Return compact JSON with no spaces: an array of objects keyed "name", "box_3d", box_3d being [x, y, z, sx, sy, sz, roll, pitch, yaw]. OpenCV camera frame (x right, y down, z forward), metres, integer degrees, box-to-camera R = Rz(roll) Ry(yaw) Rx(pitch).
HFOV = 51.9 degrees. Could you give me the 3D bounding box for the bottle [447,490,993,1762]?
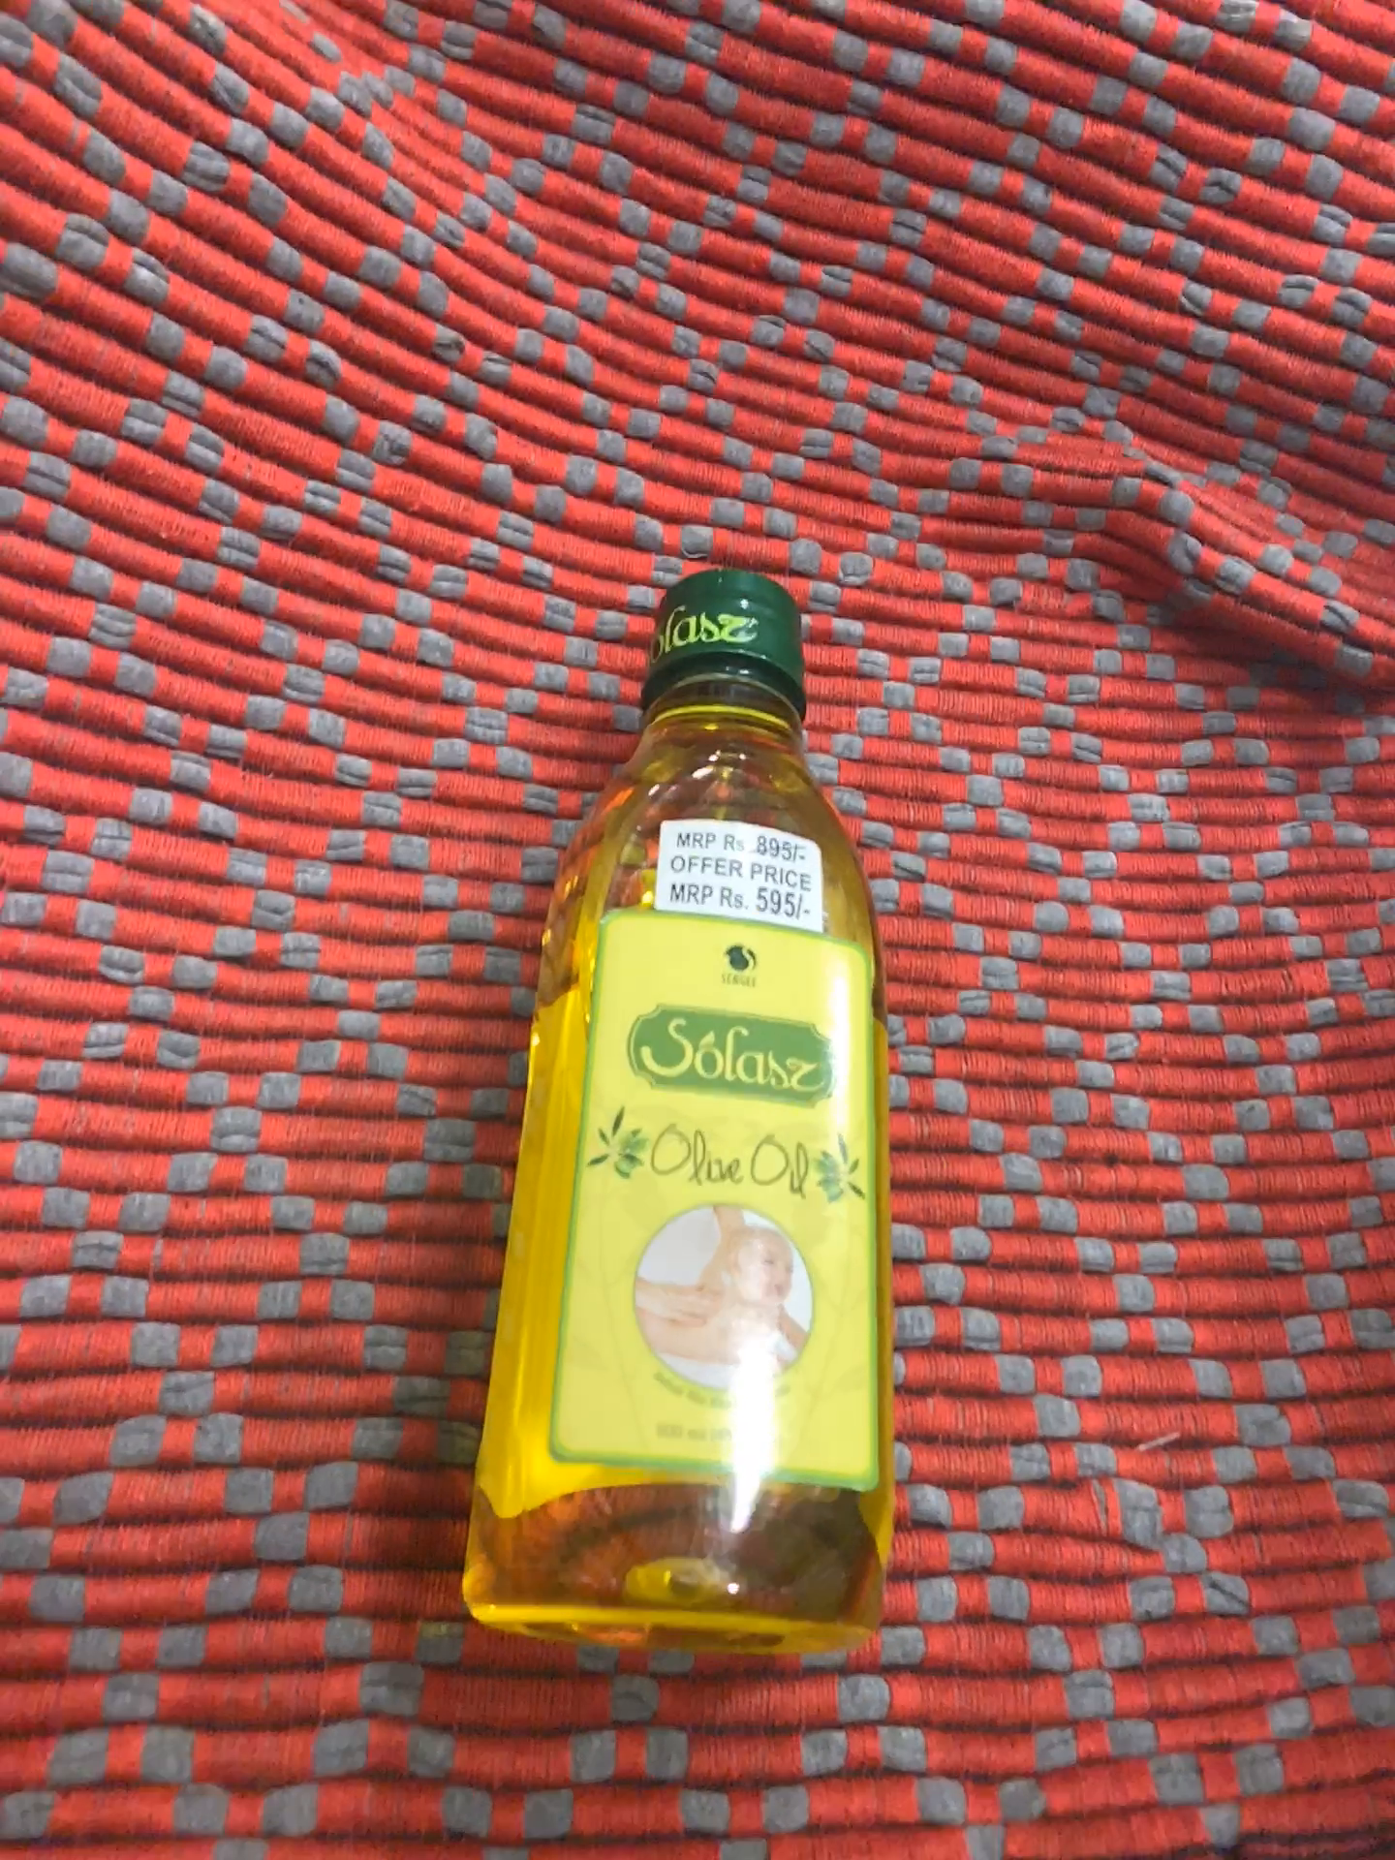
[{"name":"bottle","box_3d":[0.005,0.023,0.264,0.070,0.060,0.220,7,58,-6]}]
